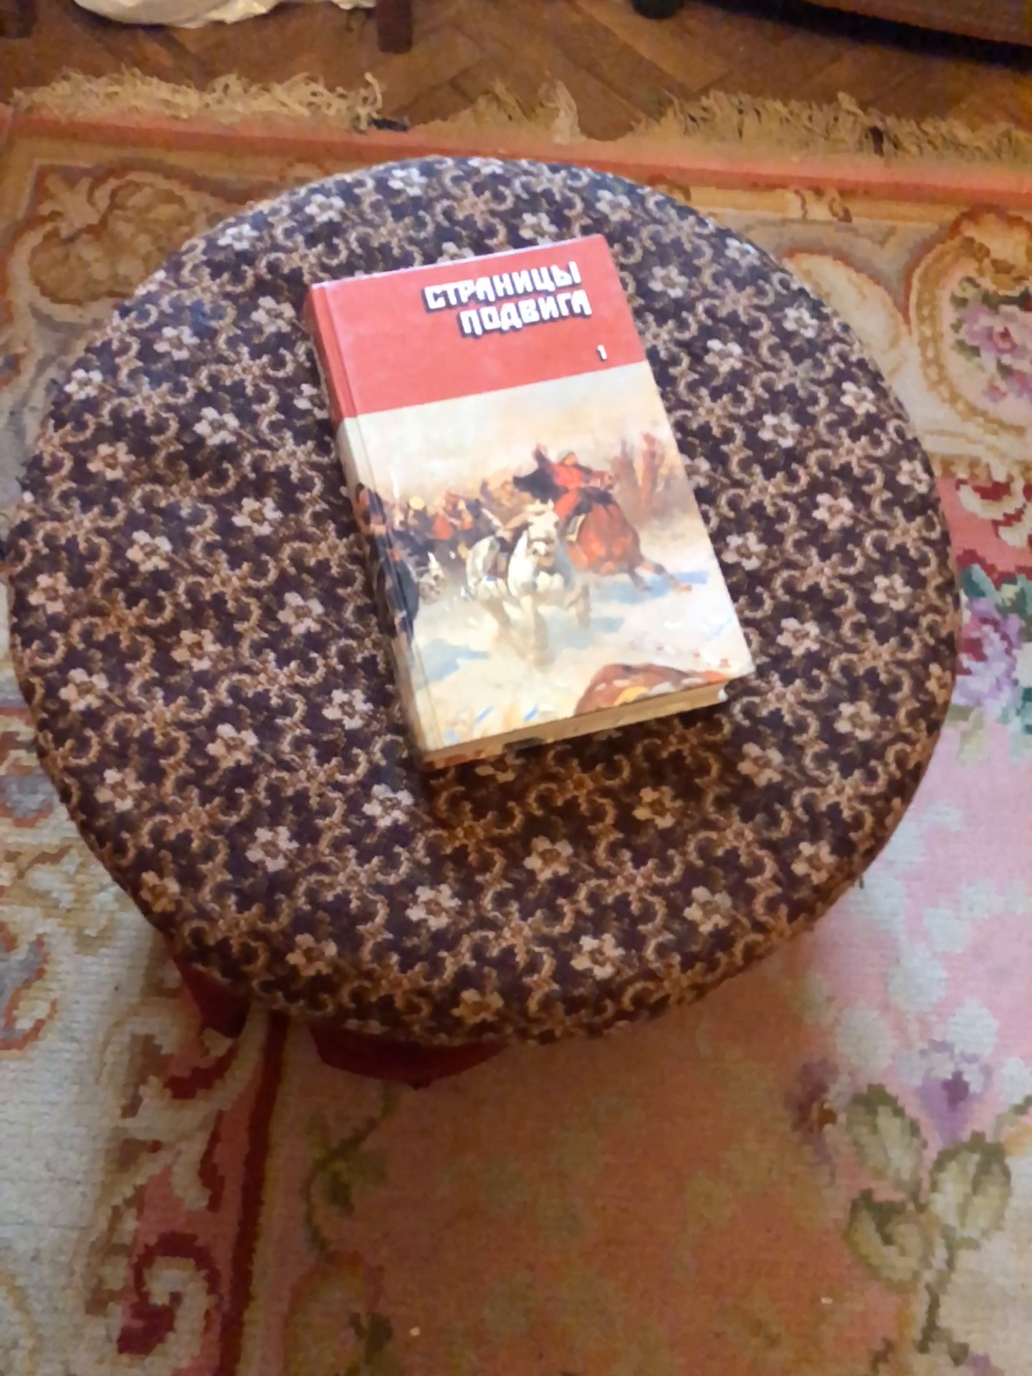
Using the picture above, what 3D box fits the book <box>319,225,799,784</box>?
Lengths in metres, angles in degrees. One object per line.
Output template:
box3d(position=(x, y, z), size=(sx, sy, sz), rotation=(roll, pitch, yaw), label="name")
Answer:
box3d(position=(0.011, -0.079, 0.454), size=(0.134, 0.040, 0.206), rotation=(-13, 72, -9), label="book")
